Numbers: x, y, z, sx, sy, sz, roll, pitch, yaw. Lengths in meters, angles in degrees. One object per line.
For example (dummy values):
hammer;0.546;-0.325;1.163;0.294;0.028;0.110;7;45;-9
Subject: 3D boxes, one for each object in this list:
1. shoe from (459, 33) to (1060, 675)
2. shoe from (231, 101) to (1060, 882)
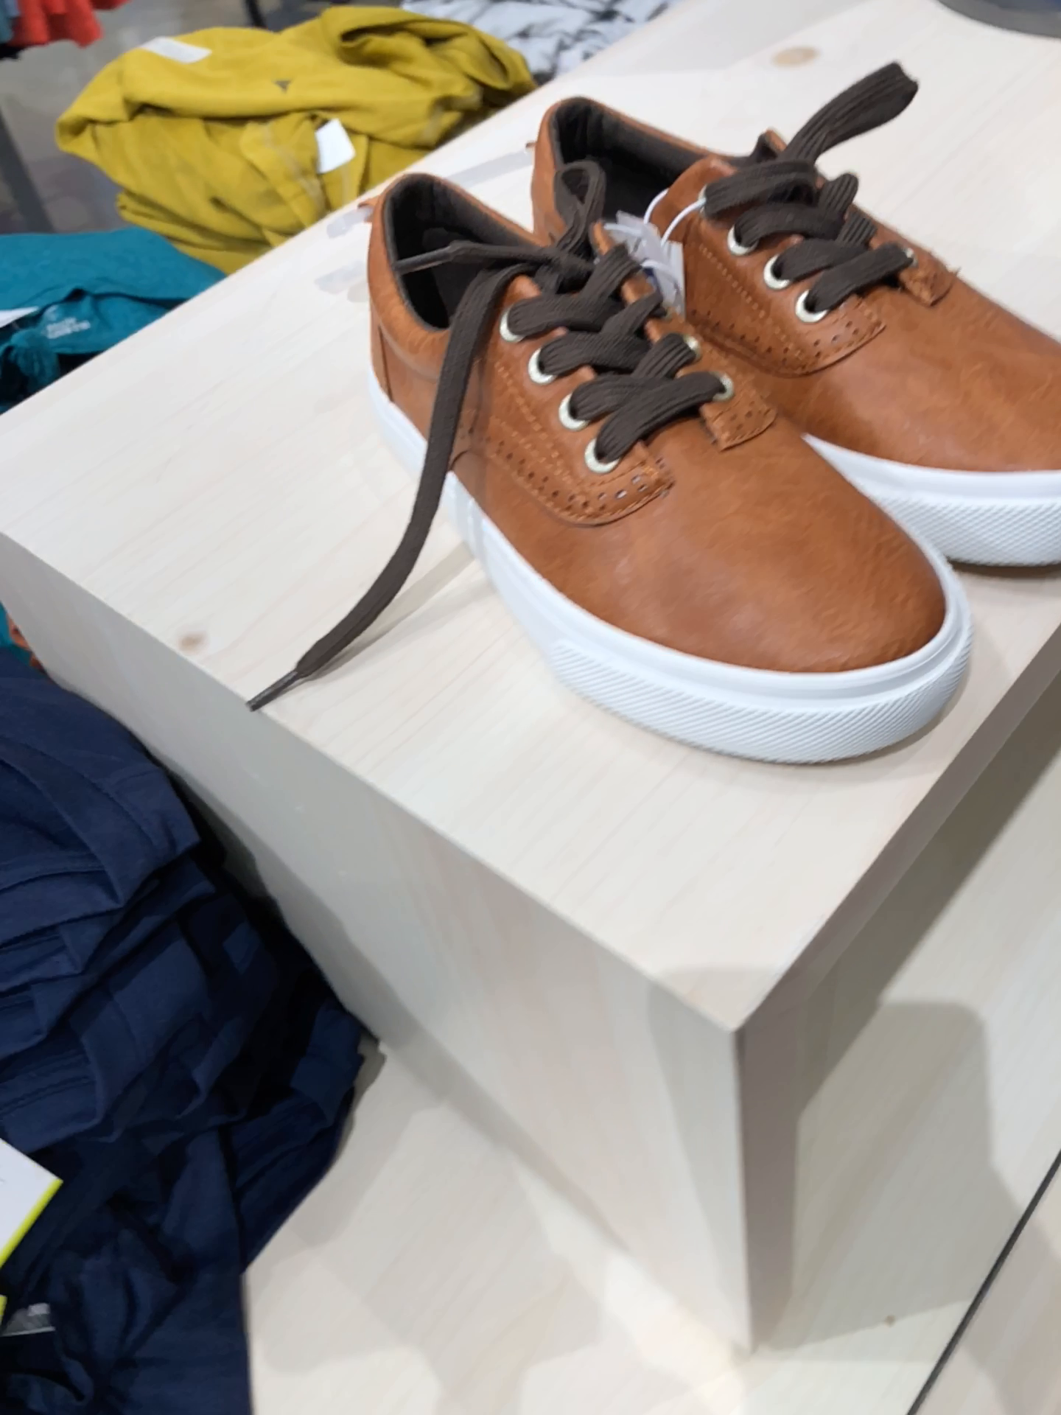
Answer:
shoe;0.082;-0.114;0.335;0.090;0.080;0.211;-34;50;-18
shoe;0.017;-0.074;0.318;0.090;0.090;0.221;-30;49;-16
